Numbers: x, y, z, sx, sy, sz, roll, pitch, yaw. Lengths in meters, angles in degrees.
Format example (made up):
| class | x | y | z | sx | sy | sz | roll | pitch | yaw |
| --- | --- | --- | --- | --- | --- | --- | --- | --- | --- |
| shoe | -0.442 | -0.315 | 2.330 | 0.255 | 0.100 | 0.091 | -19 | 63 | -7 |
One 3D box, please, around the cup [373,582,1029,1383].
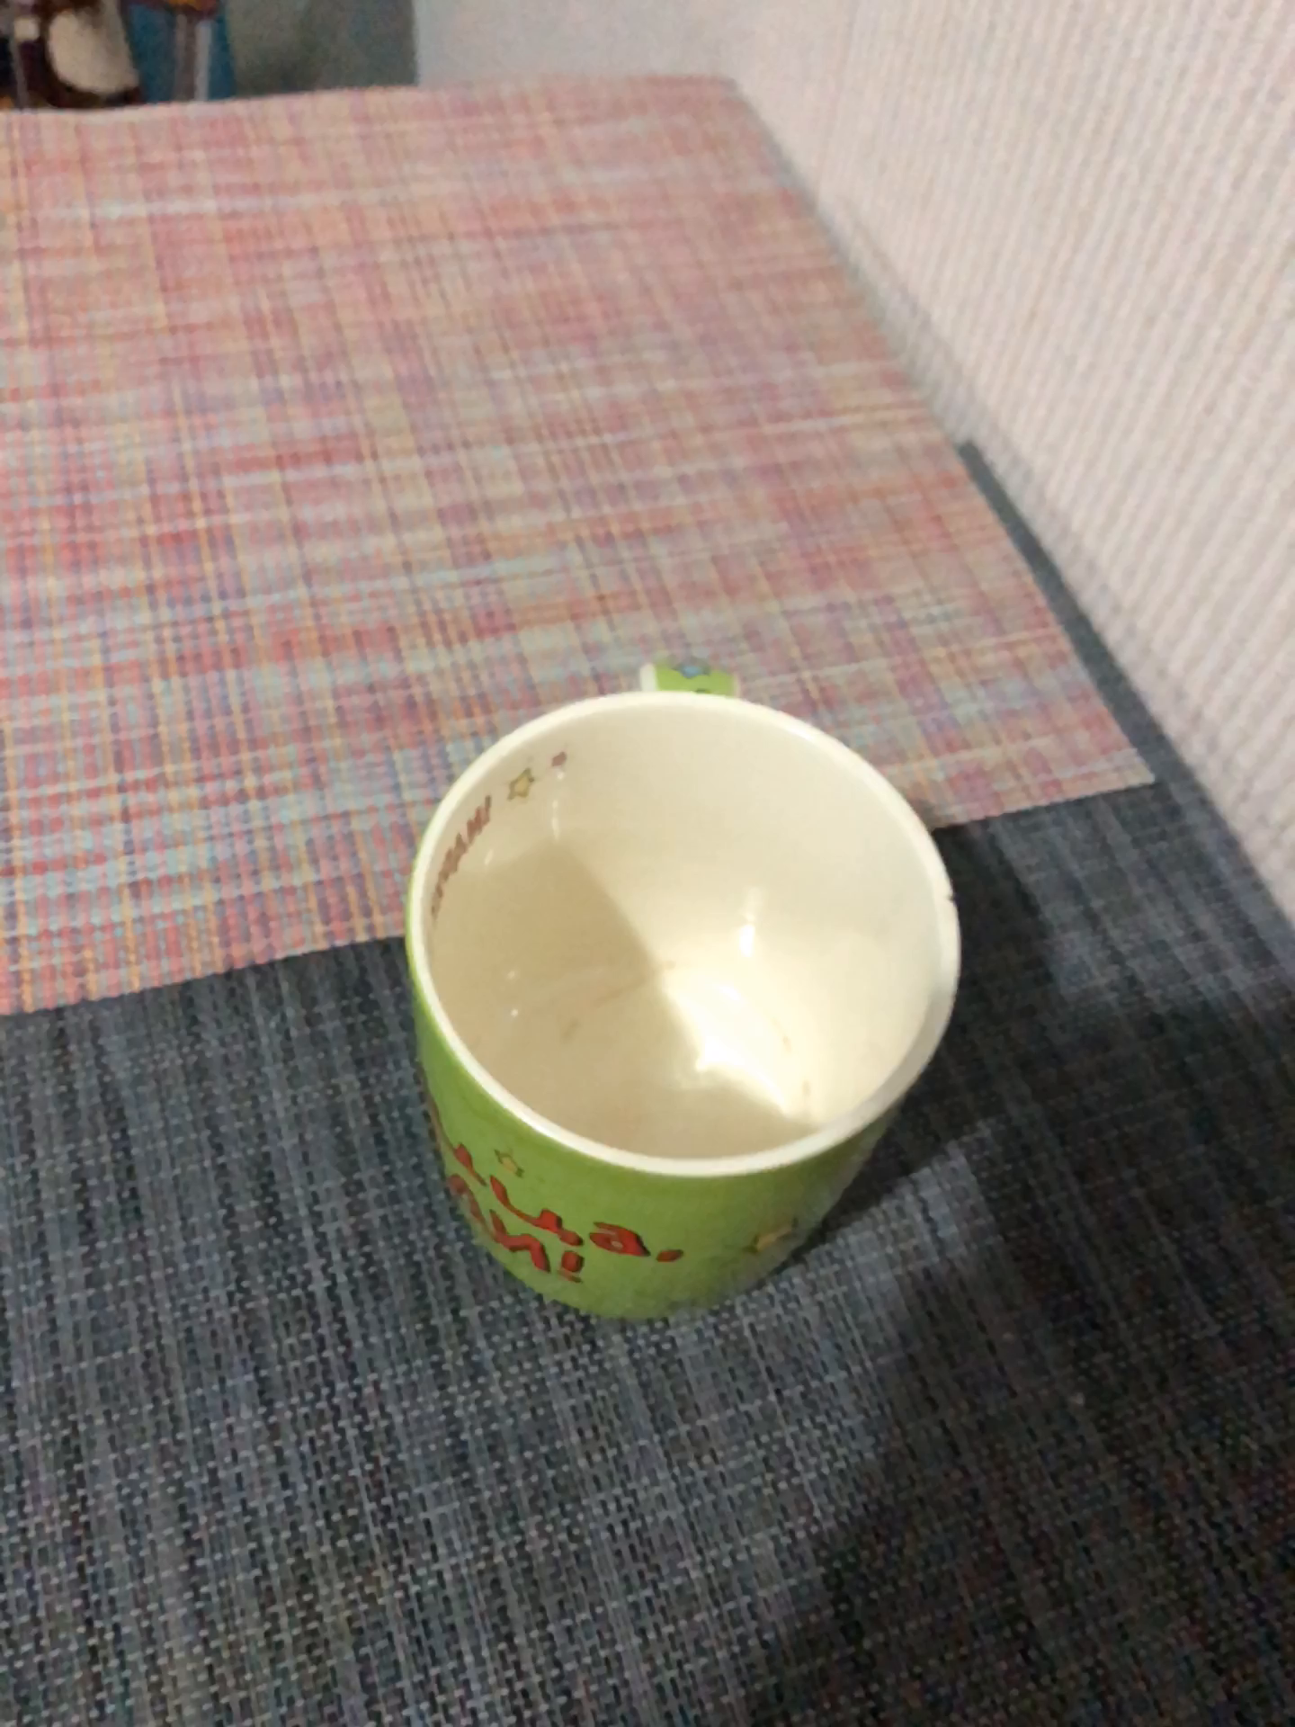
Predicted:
| class | x | y | z | sx | sy | sz | roll | pitch | yaw |
| --- | --- | --- | --- | --- | --- | --- | --- | --- | --- |
| cup | 0.003 | 0.023 | 0.262 | 0.089 | 0.084 | 0.116 | 3 | 56 | -6 |
